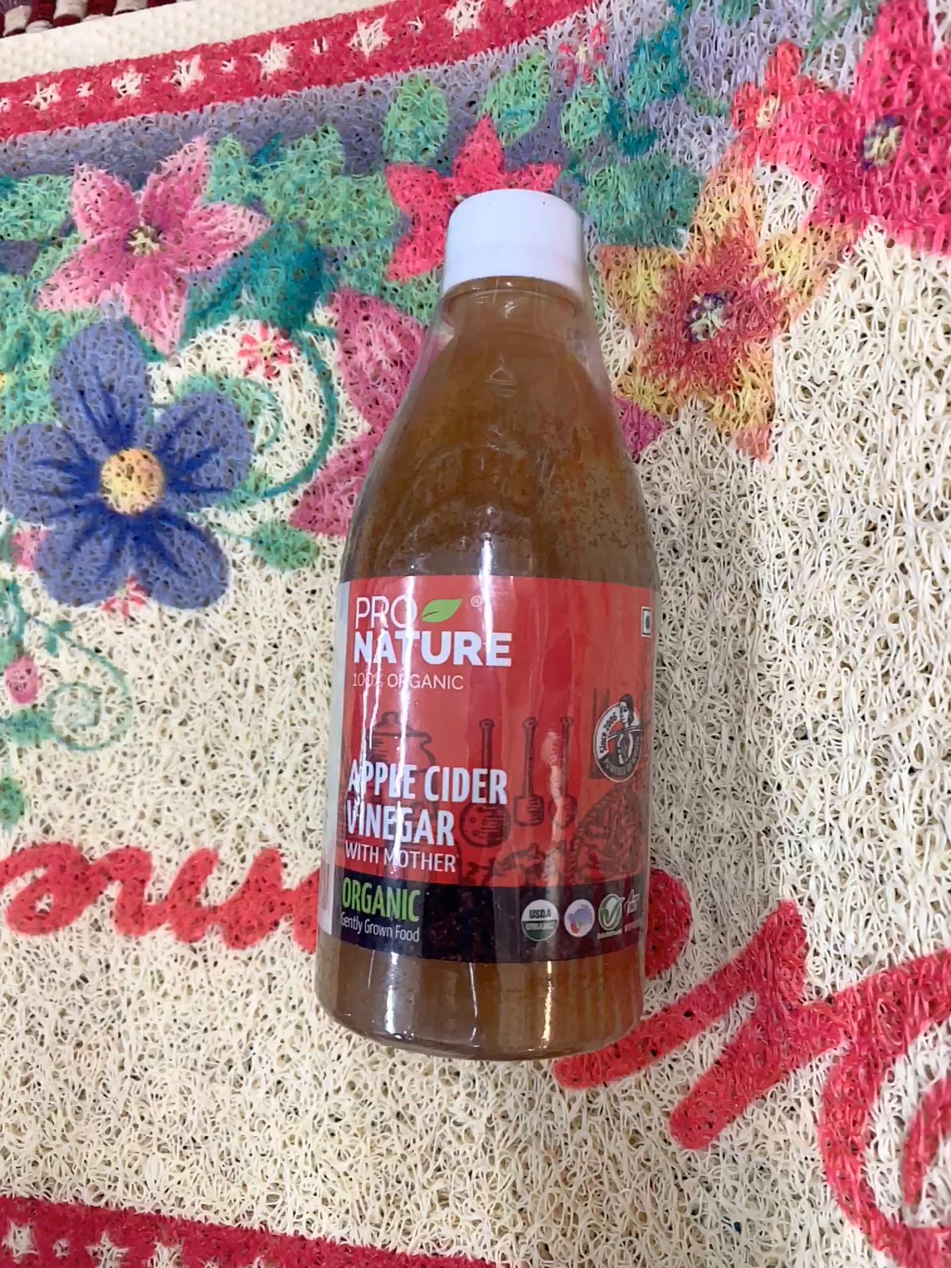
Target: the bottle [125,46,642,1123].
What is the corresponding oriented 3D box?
[{"bbox_3d":[-0.014,-0.007,0.185,0.080,0.050,0.160,1,94,22],"label":"bottle"}]
